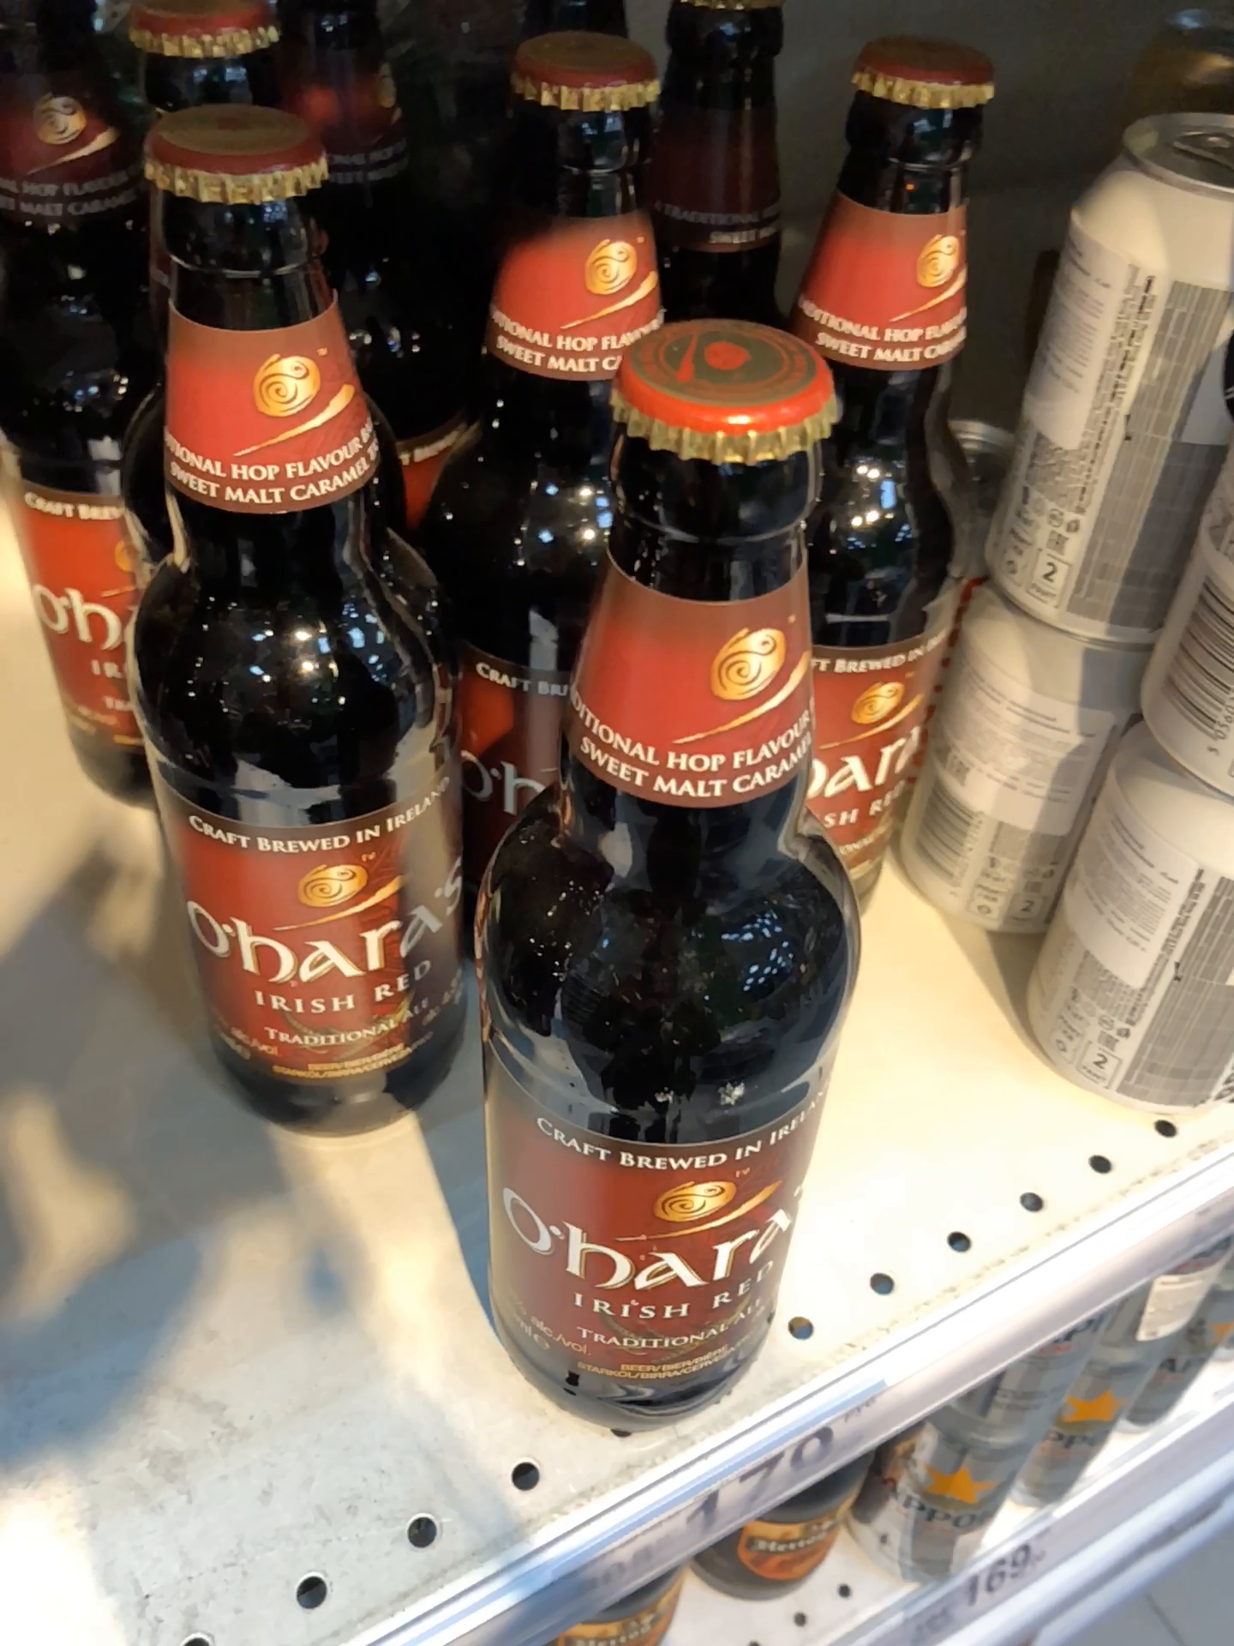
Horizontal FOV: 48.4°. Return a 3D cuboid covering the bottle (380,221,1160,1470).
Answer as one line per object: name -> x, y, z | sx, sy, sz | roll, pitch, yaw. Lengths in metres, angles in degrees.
bottle -> 0.007, 0.027, 0.261 | 0.080, 0.246, 0.080 | 2, 45, -2
